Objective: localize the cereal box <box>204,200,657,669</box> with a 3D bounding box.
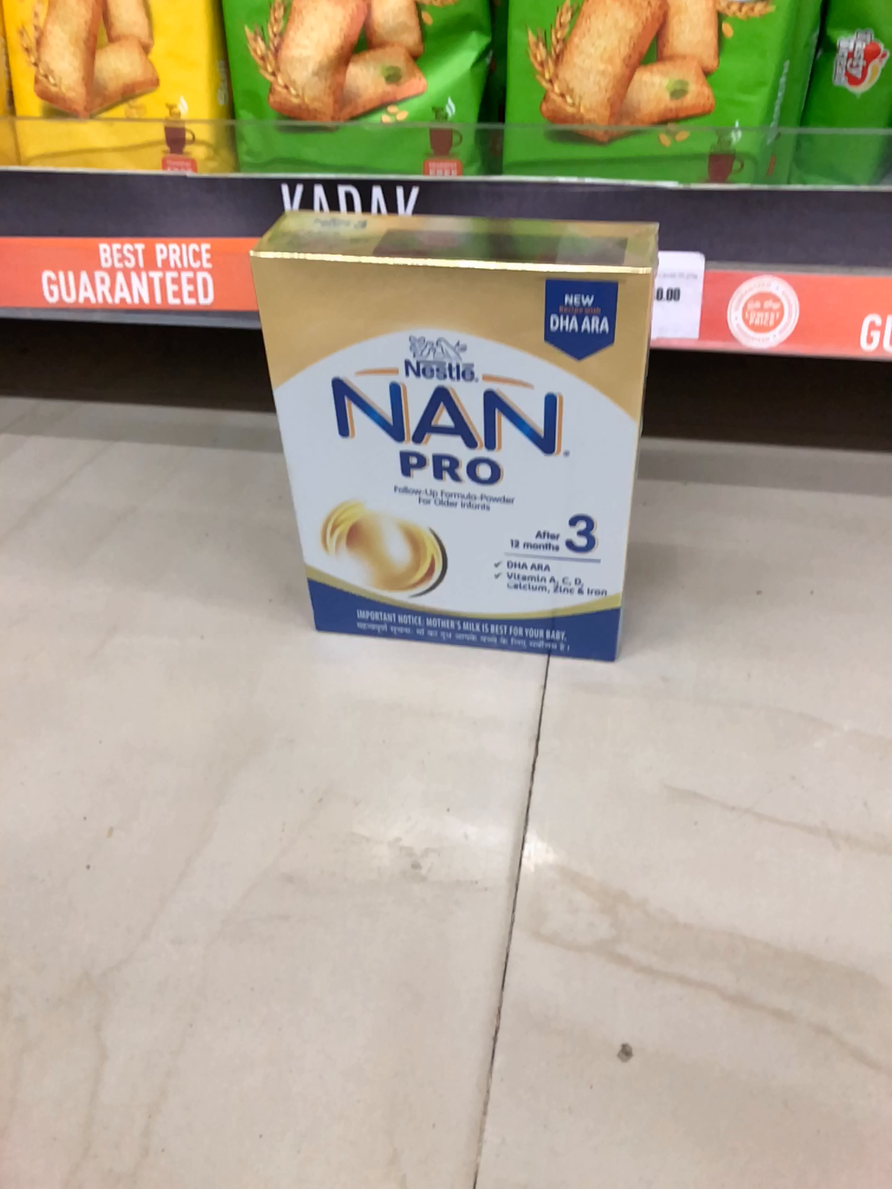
[{"bbox_3d":[-0.001,-0.062,0.424,0.160,0.189,0.050,5,40,10],"label":"cereal box"}]
